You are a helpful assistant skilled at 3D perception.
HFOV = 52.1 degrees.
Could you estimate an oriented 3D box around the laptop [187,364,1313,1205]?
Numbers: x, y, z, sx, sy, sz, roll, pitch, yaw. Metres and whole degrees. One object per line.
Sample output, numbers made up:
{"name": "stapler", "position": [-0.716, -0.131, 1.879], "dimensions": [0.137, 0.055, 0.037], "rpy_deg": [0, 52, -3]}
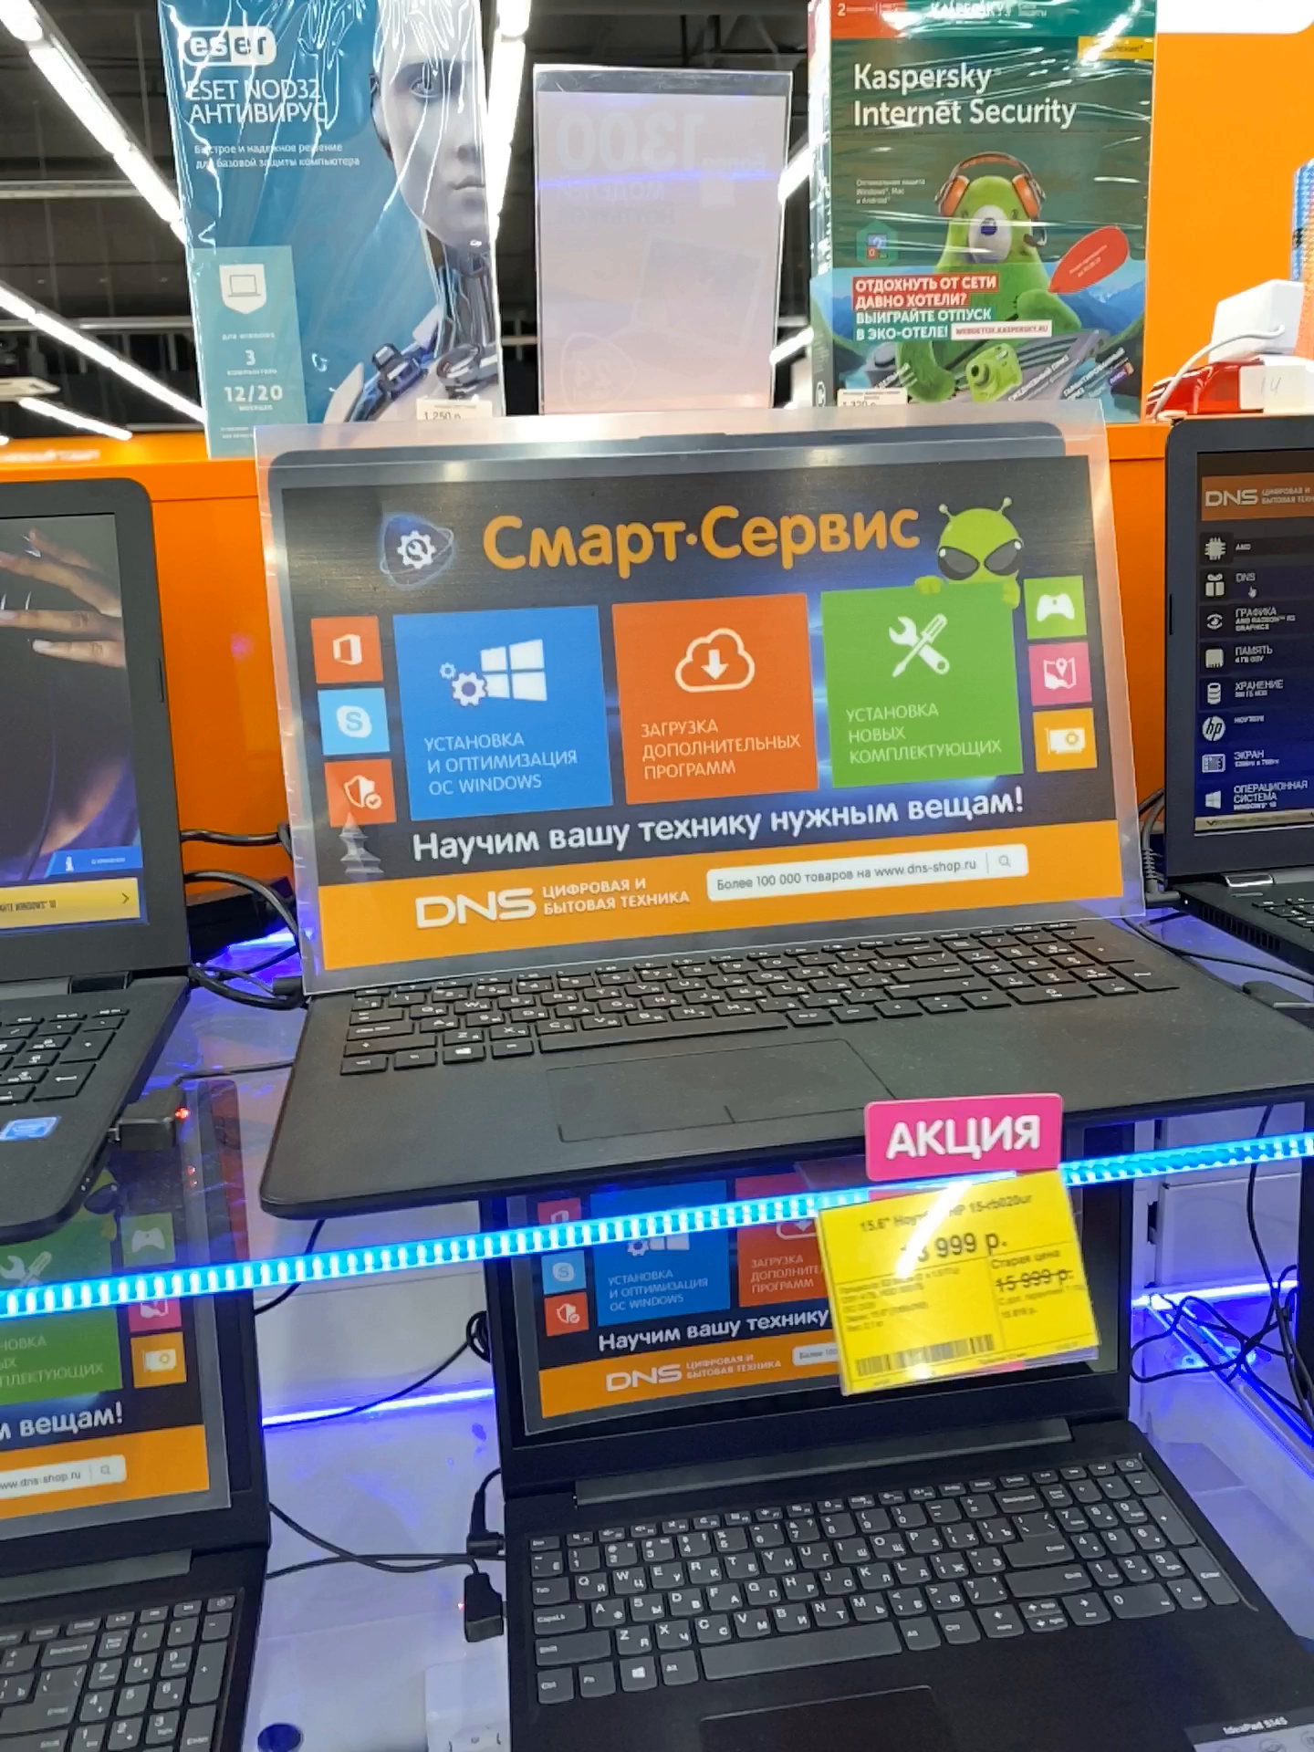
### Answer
{"name": "laptop", "position": [0.043, -0.060, 0.545], "dimensions": [0.377, 0.235, 0.262], "rpy_deg": [-5, 14, -7]}
